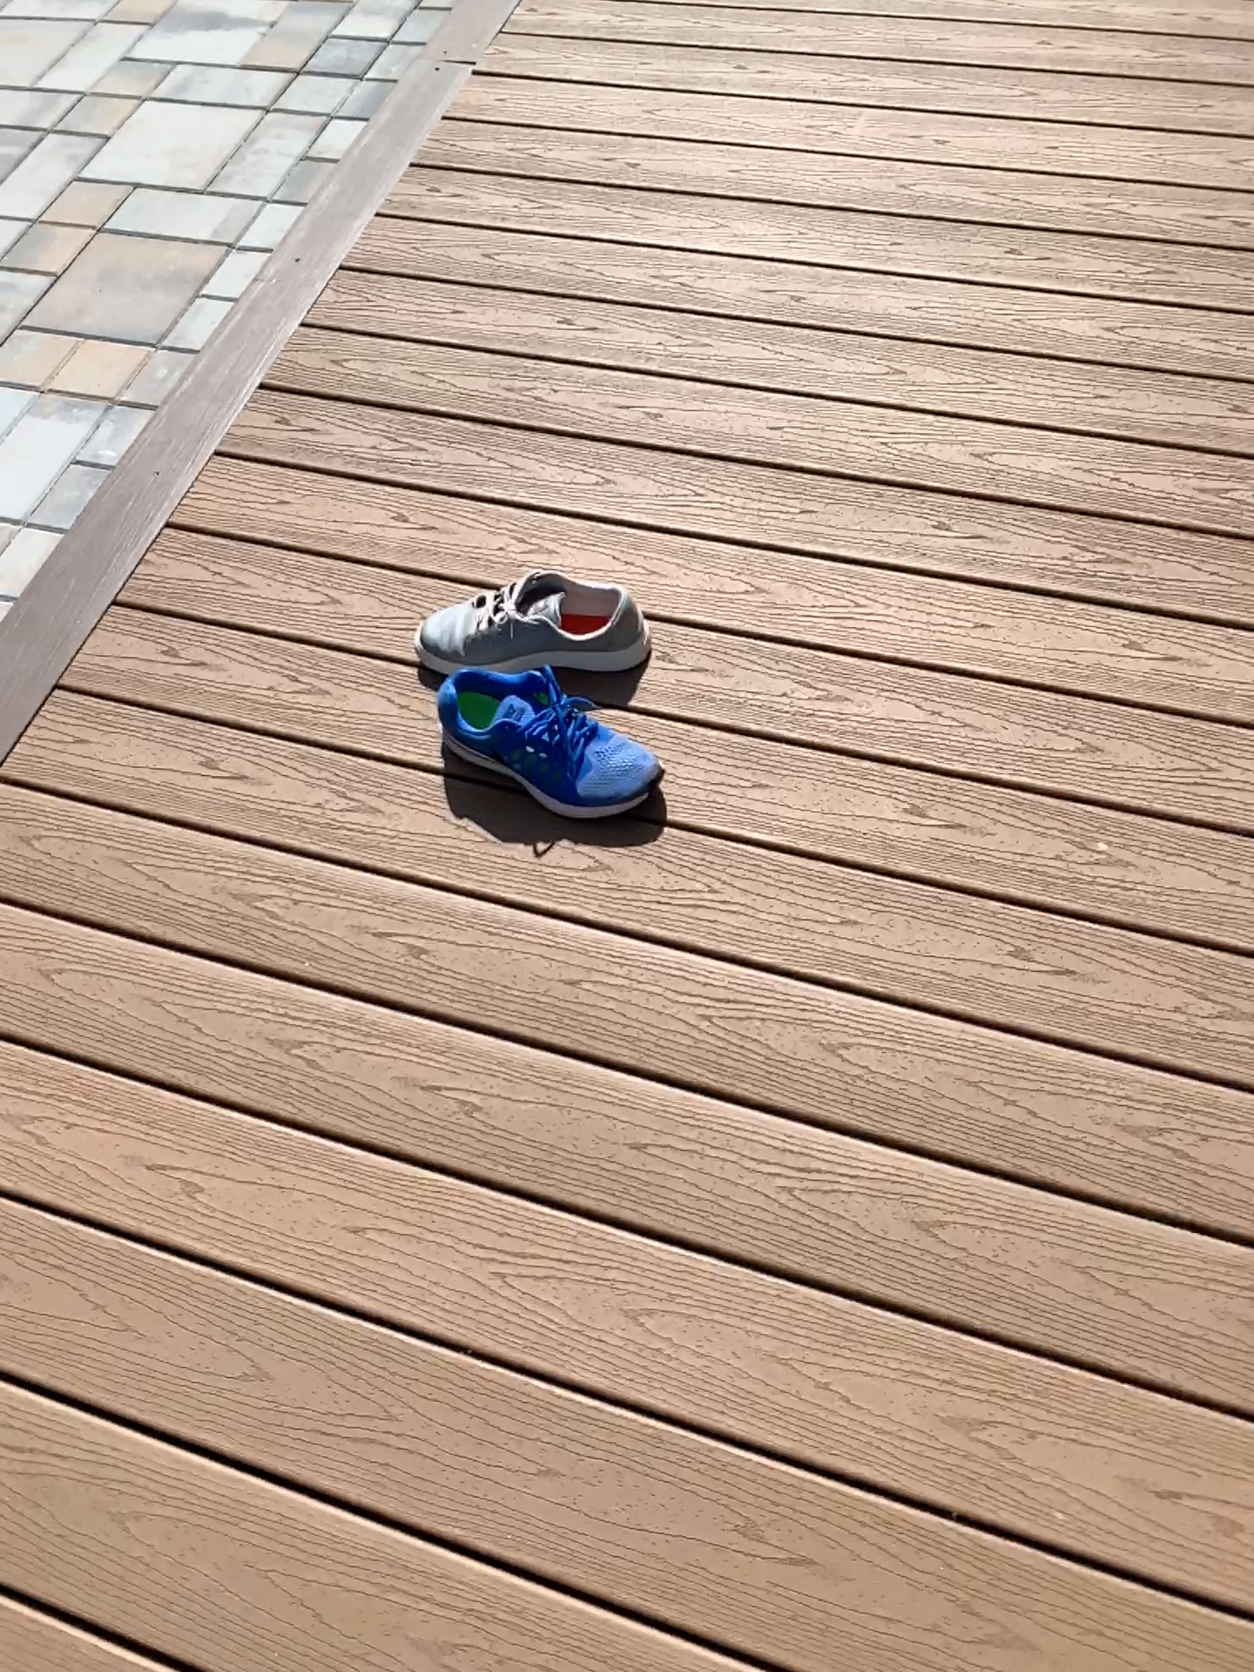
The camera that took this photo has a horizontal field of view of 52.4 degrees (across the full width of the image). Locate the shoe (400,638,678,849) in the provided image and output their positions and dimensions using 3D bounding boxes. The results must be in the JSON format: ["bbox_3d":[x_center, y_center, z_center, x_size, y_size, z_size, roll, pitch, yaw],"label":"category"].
[{"bbox_3d":[-0.096,-0.105,1.403,0.281,0.090,0.110,24,63,20],"label":"shoe"}]

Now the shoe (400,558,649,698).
[{"bbox_3d":[-0.118,-0.250,1.540,0.280,0.110,0.110,-2,57,5],"label":"shoe"}]
